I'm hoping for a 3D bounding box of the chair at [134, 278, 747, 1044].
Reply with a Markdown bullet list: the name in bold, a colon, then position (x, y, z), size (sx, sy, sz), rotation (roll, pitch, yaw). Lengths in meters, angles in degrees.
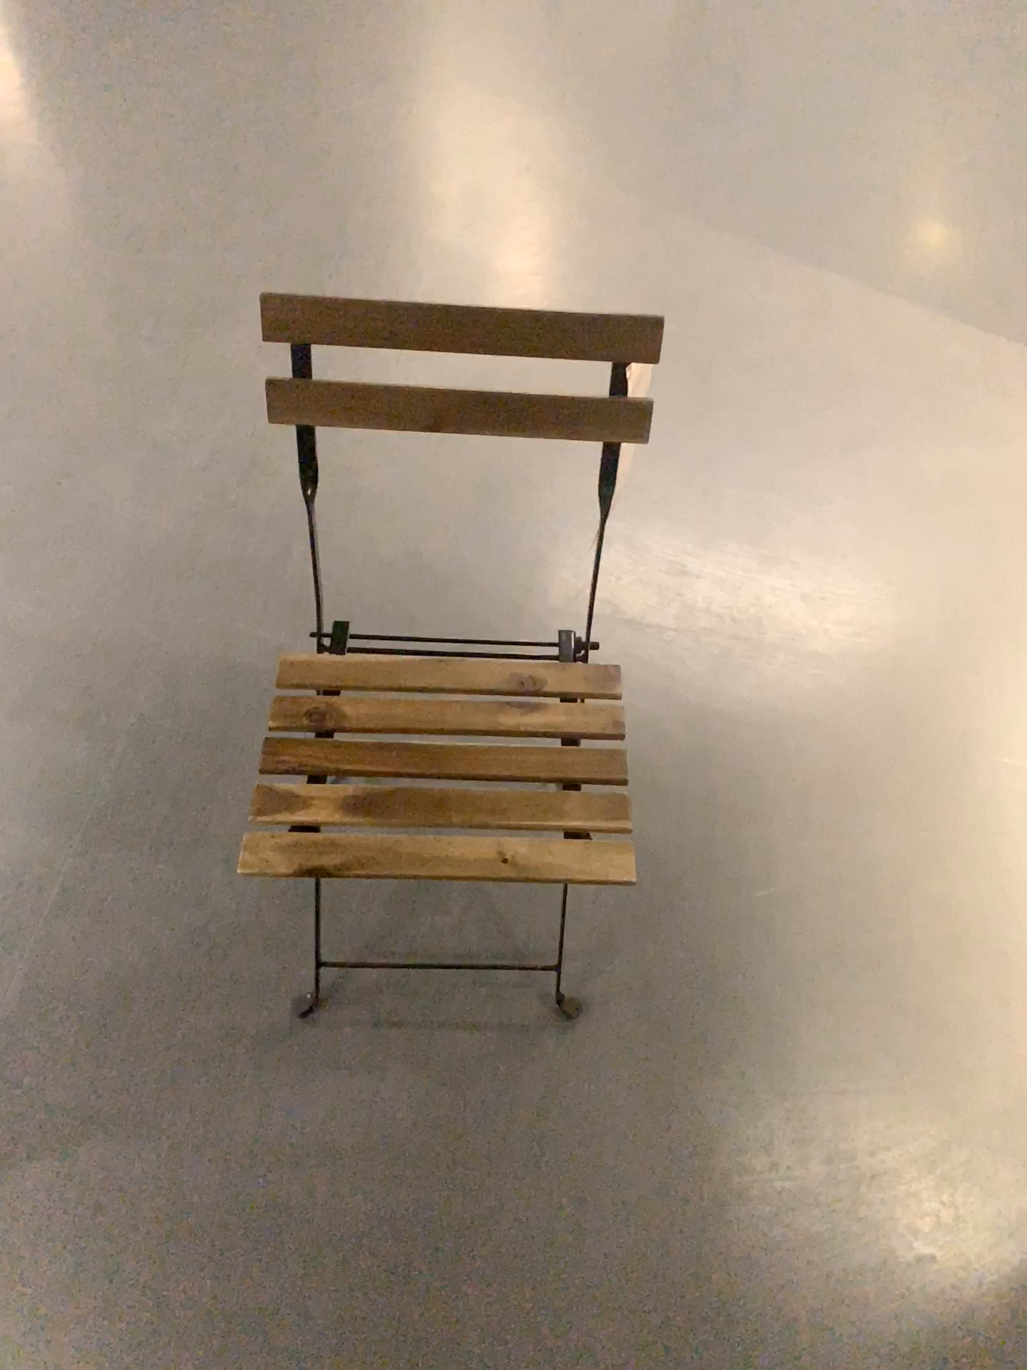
- **chair**: position (-0.063, 0.025, 1.147), size (0.420, 0.698, 0.501), rotation (3, 54, -2)
